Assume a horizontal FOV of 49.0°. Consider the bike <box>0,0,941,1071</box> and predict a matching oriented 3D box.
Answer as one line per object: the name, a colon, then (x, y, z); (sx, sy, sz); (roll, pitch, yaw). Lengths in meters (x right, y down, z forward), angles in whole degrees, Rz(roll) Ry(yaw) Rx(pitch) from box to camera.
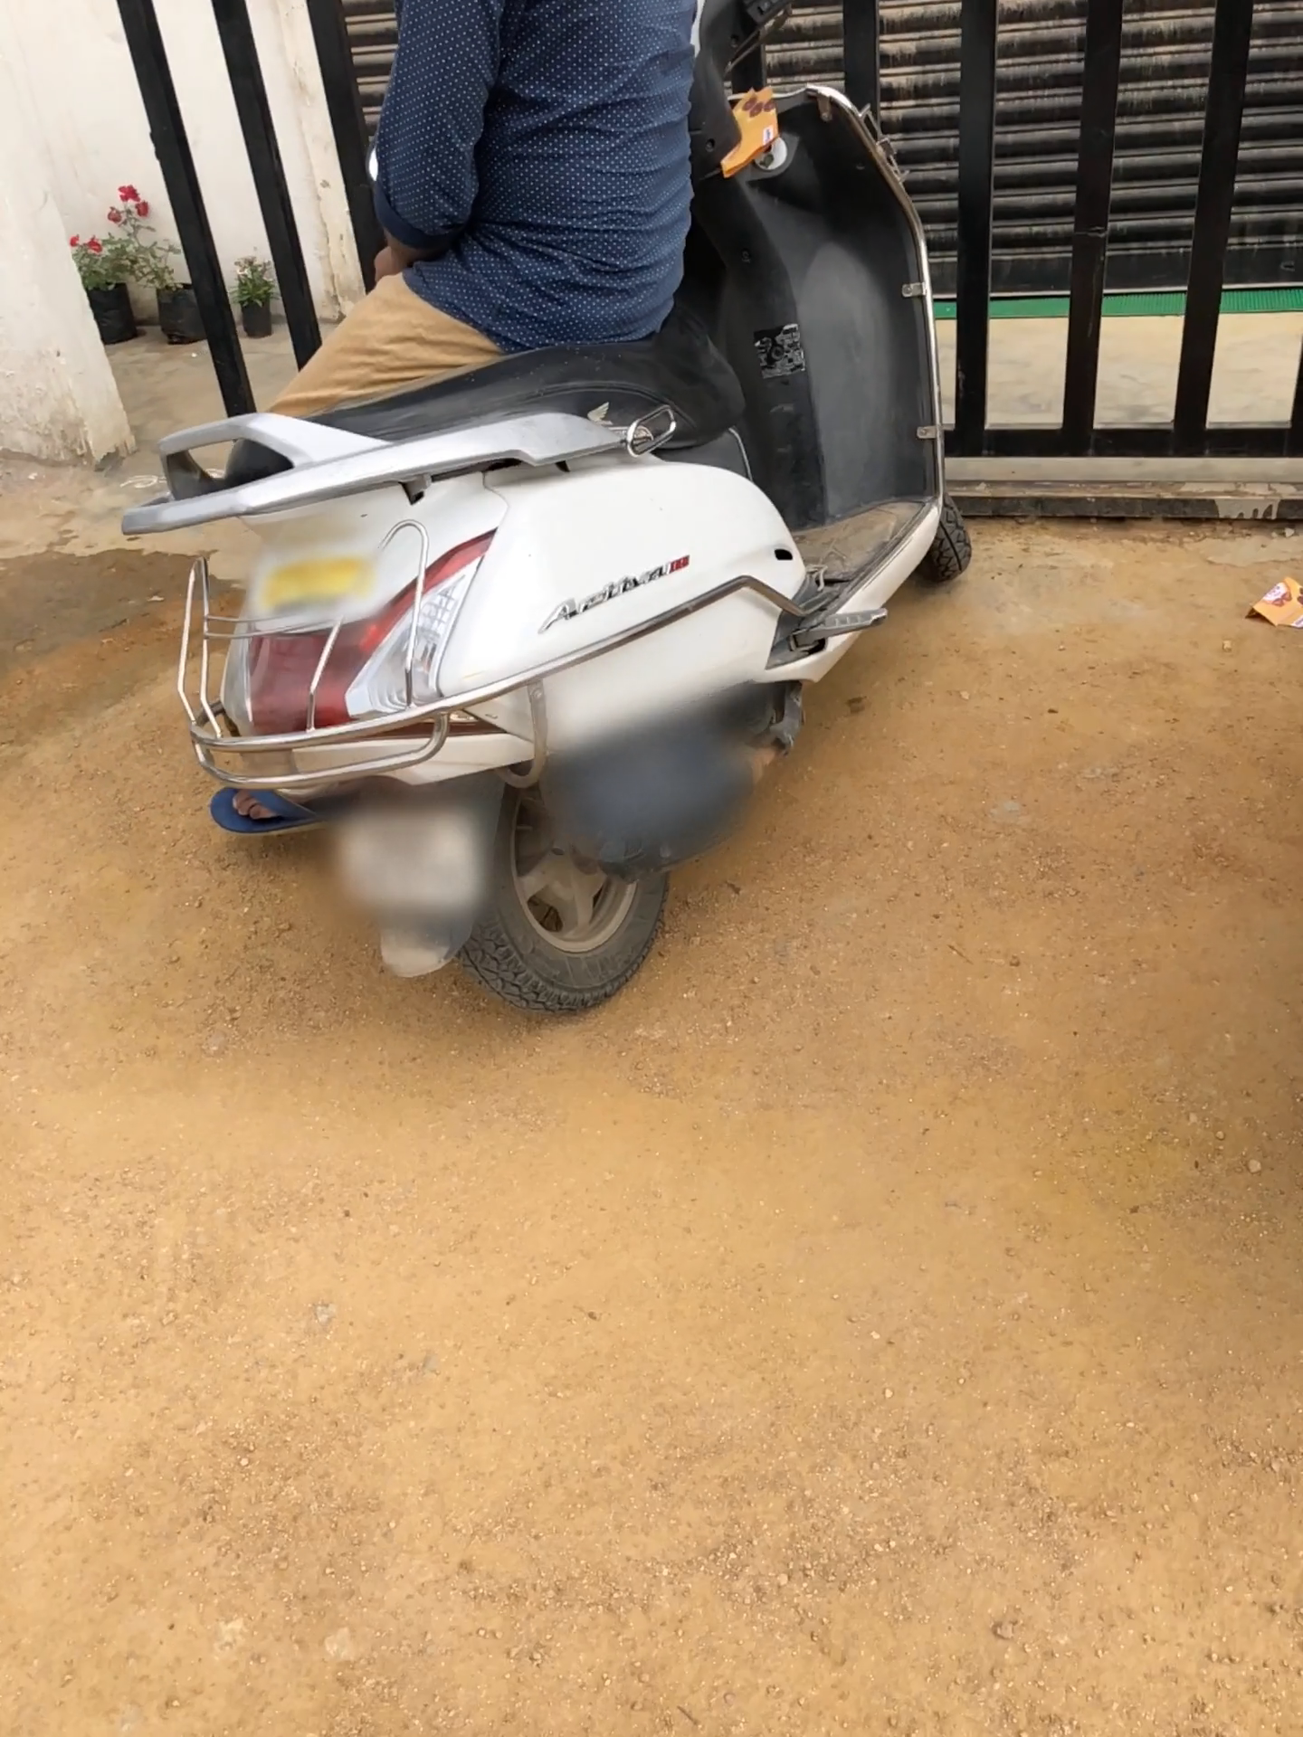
bike: (-0.062, -0.736, 2.162); (0.649, 1.069, 1.656); (8, 38, 21)
